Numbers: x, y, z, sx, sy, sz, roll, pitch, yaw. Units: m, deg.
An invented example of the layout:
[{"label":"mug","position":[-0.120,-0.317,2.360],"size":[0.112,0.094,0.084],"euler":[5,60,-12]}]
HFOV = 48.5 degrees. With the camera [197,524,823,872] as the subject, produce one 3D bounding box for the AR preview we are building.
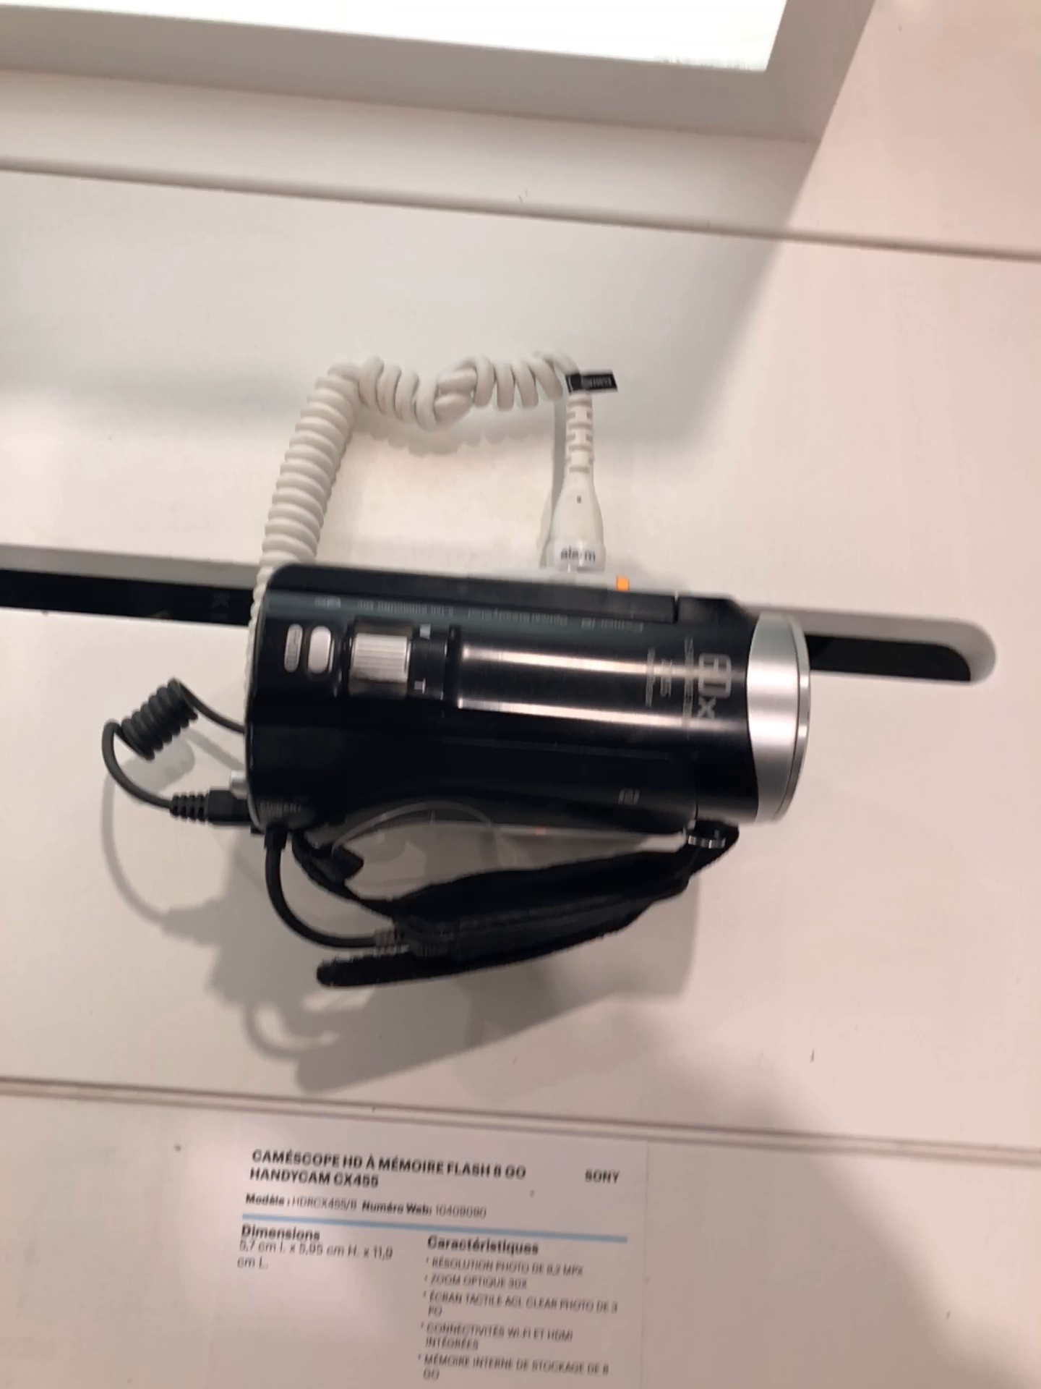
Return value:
[{"label":"camera","position":[-0.002,0.004,0.259],"size":[0.121,0.058,0.057],"euler":[3,72,-2]}]
